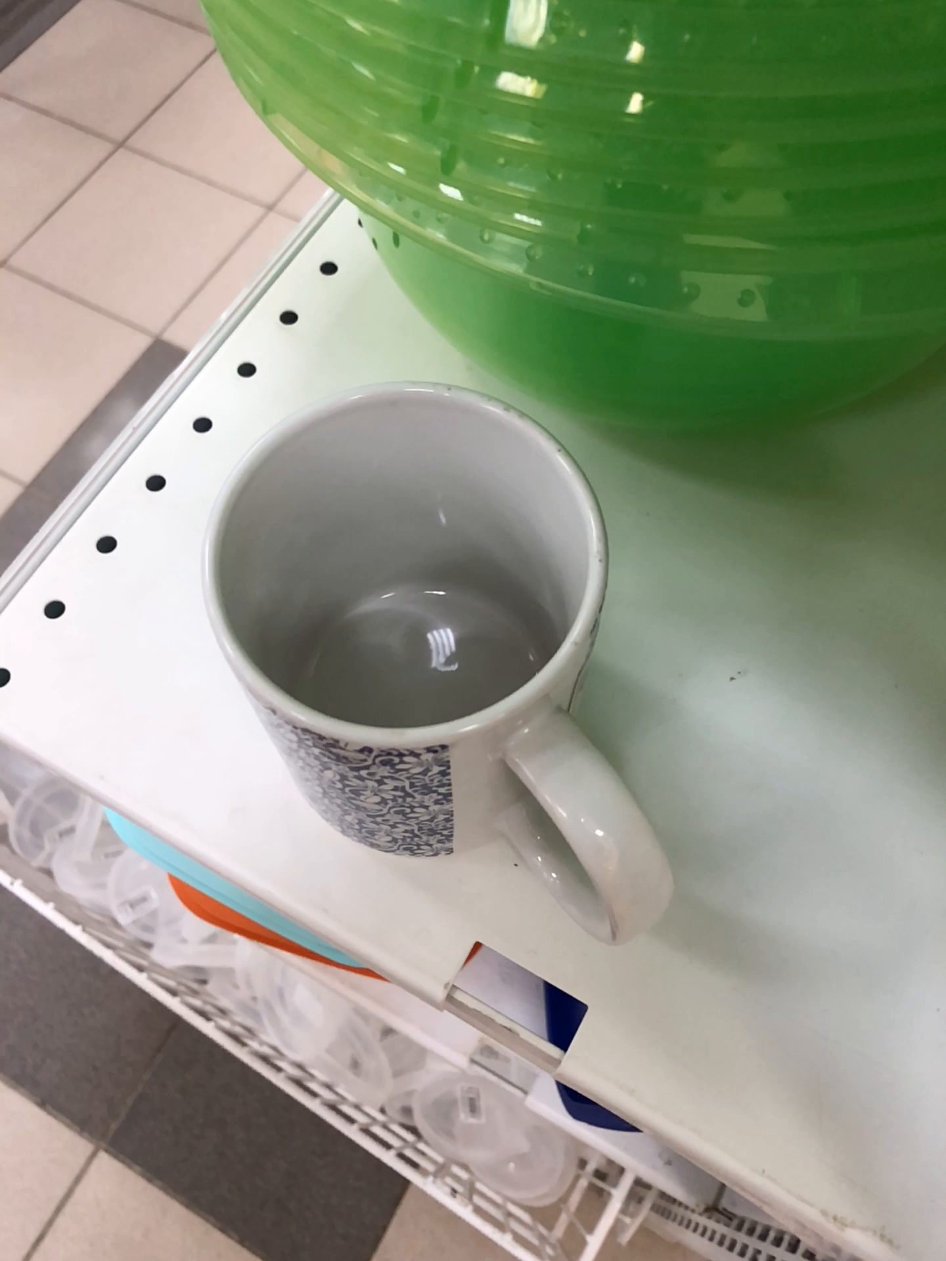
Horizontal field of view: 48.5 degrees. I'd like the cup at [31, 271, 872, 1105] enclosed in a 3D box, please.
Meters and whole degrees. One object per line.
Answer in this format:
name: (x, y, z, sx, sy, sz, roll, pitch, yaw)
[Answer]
cup: (-0.008, 0.016, 0.244, 0.097, 0.098, 0.138, -34, 68, -14)
